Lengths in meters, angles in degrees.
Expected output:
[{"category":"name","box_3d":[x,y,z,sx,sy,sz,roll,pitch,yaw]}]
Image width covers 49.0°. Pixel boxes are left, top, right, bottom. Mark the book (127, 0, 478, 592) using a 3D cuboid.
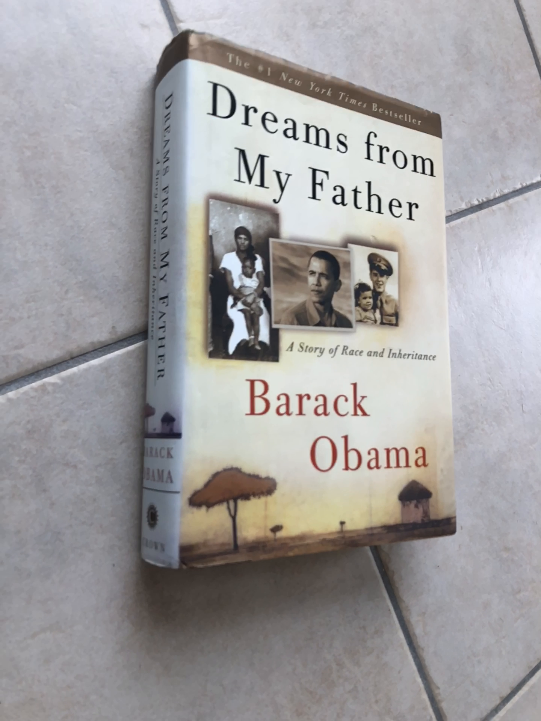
[{"category":"book","box_3d":[0.023,-0.038,0.306,0.171,0.050,0.270,5,82,-29]}]
